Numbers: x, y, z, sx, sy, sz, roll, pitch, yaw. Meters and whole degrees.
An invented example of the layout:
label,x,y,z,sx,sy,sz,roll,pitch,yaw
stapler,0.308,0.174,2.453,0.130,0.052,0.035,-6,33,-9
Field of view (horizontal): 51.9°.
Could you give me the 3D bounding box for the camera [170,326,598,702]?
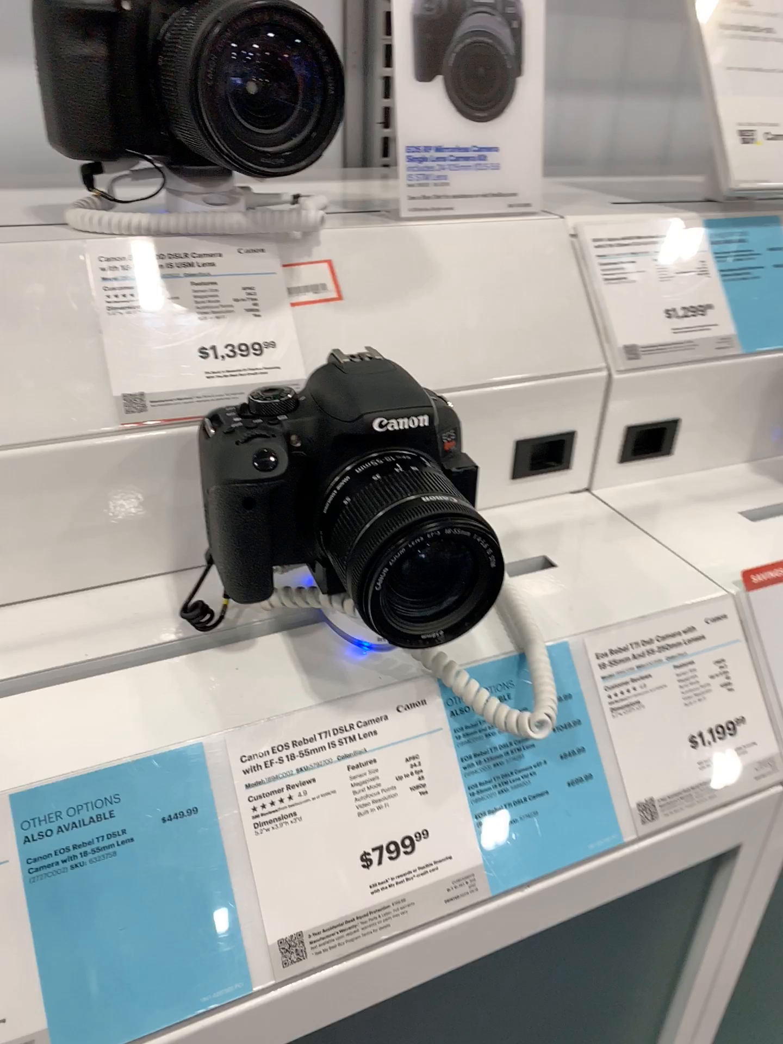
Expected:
label,x,y,z,sx,sy,sz,roll,pitch,yaw
camera,-0.012,-0.016,0.362,0.140,0.099,0.131,-11,31,-21
